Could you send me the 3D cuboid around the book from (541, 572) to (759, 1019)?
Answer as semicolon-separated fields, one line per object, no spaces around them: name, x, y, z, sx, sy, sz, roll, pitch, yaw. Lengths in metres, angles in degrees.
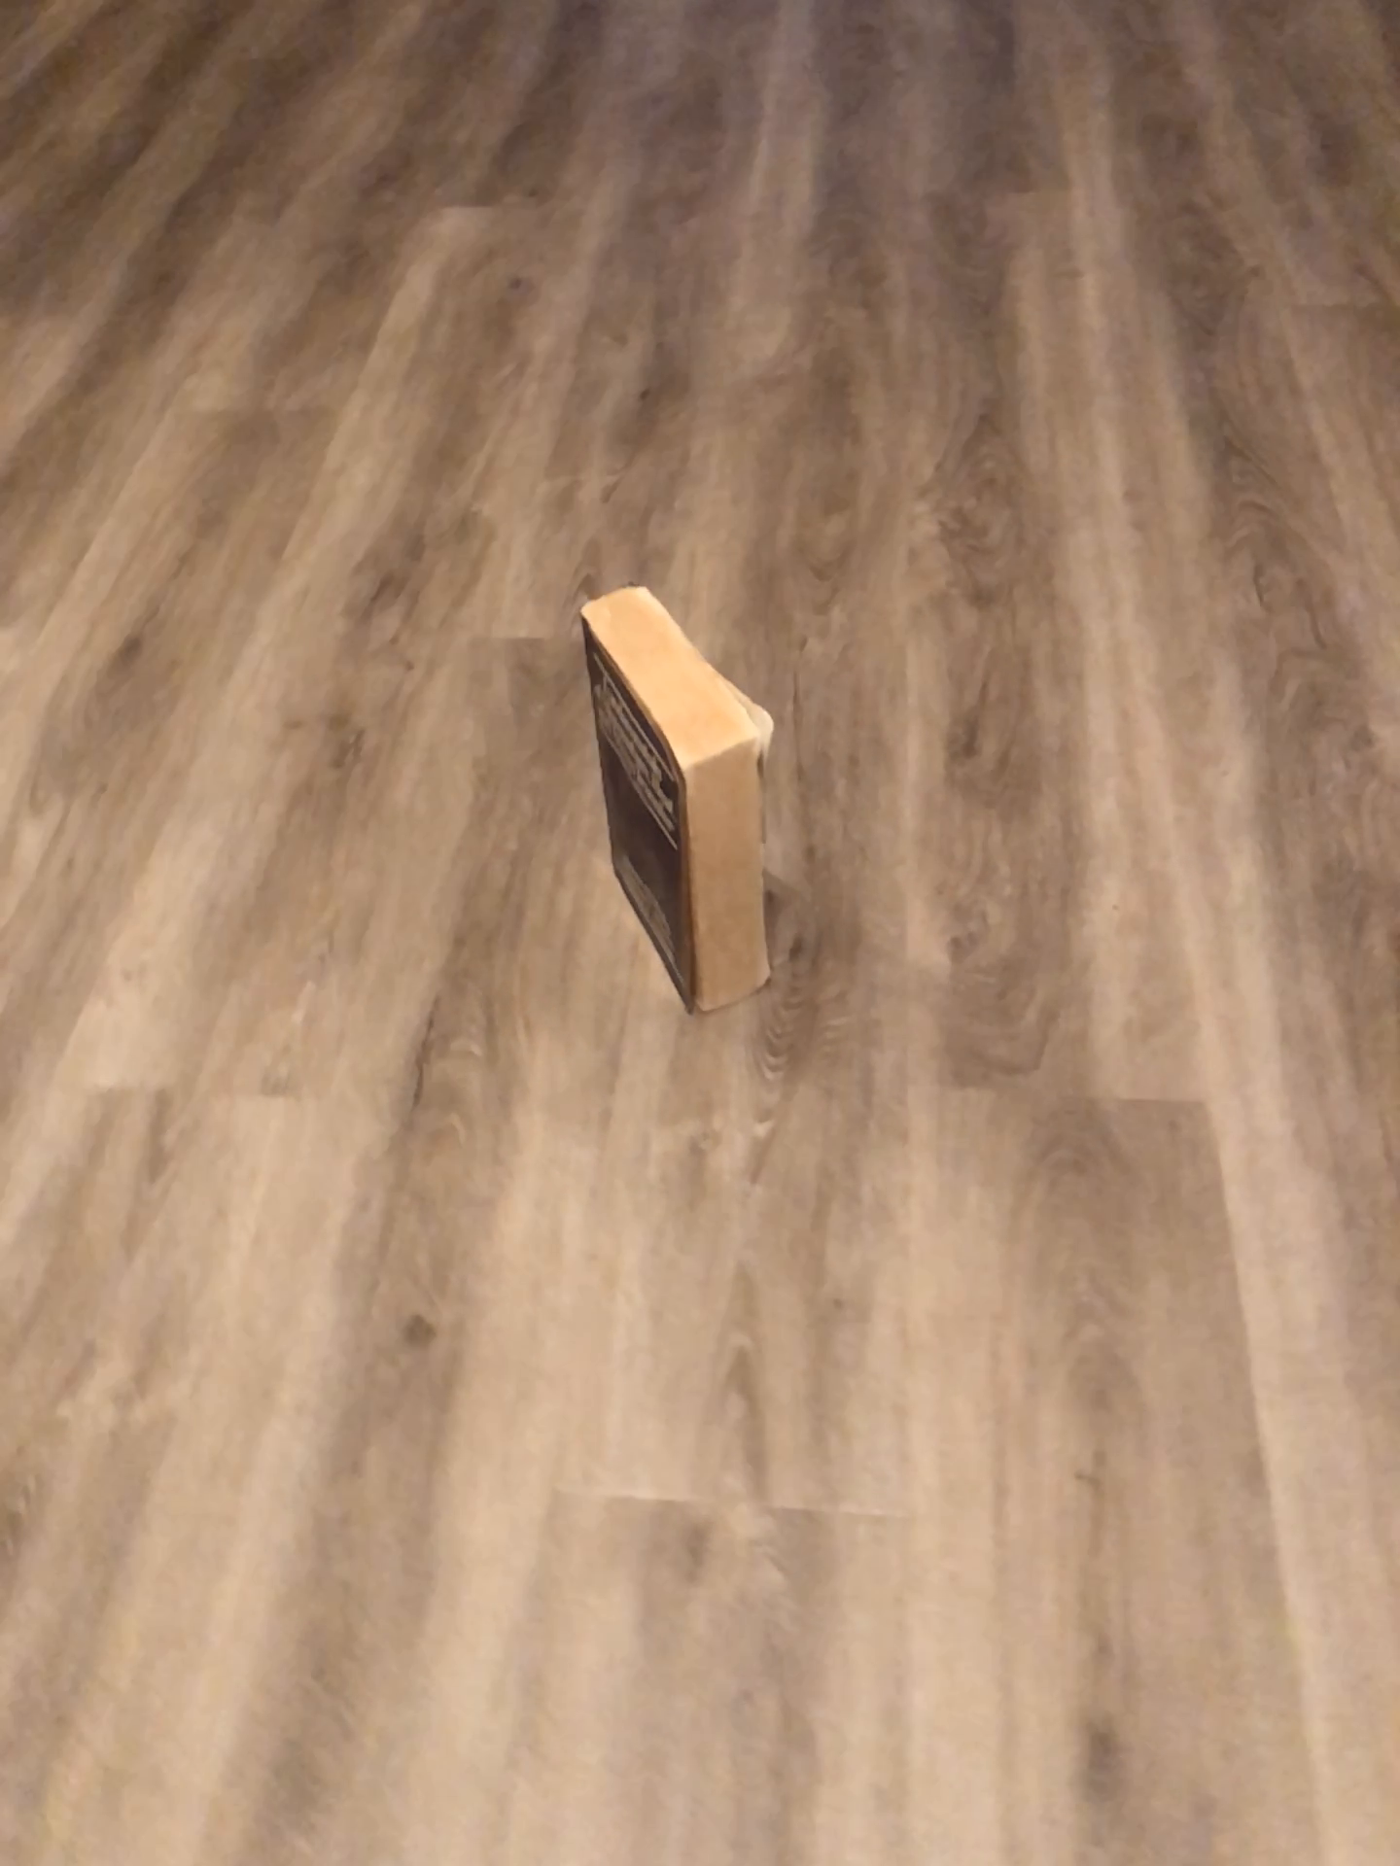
book;-0.028;-0.080;0.946;0.060;0.219;0.155;-22;51;-17
